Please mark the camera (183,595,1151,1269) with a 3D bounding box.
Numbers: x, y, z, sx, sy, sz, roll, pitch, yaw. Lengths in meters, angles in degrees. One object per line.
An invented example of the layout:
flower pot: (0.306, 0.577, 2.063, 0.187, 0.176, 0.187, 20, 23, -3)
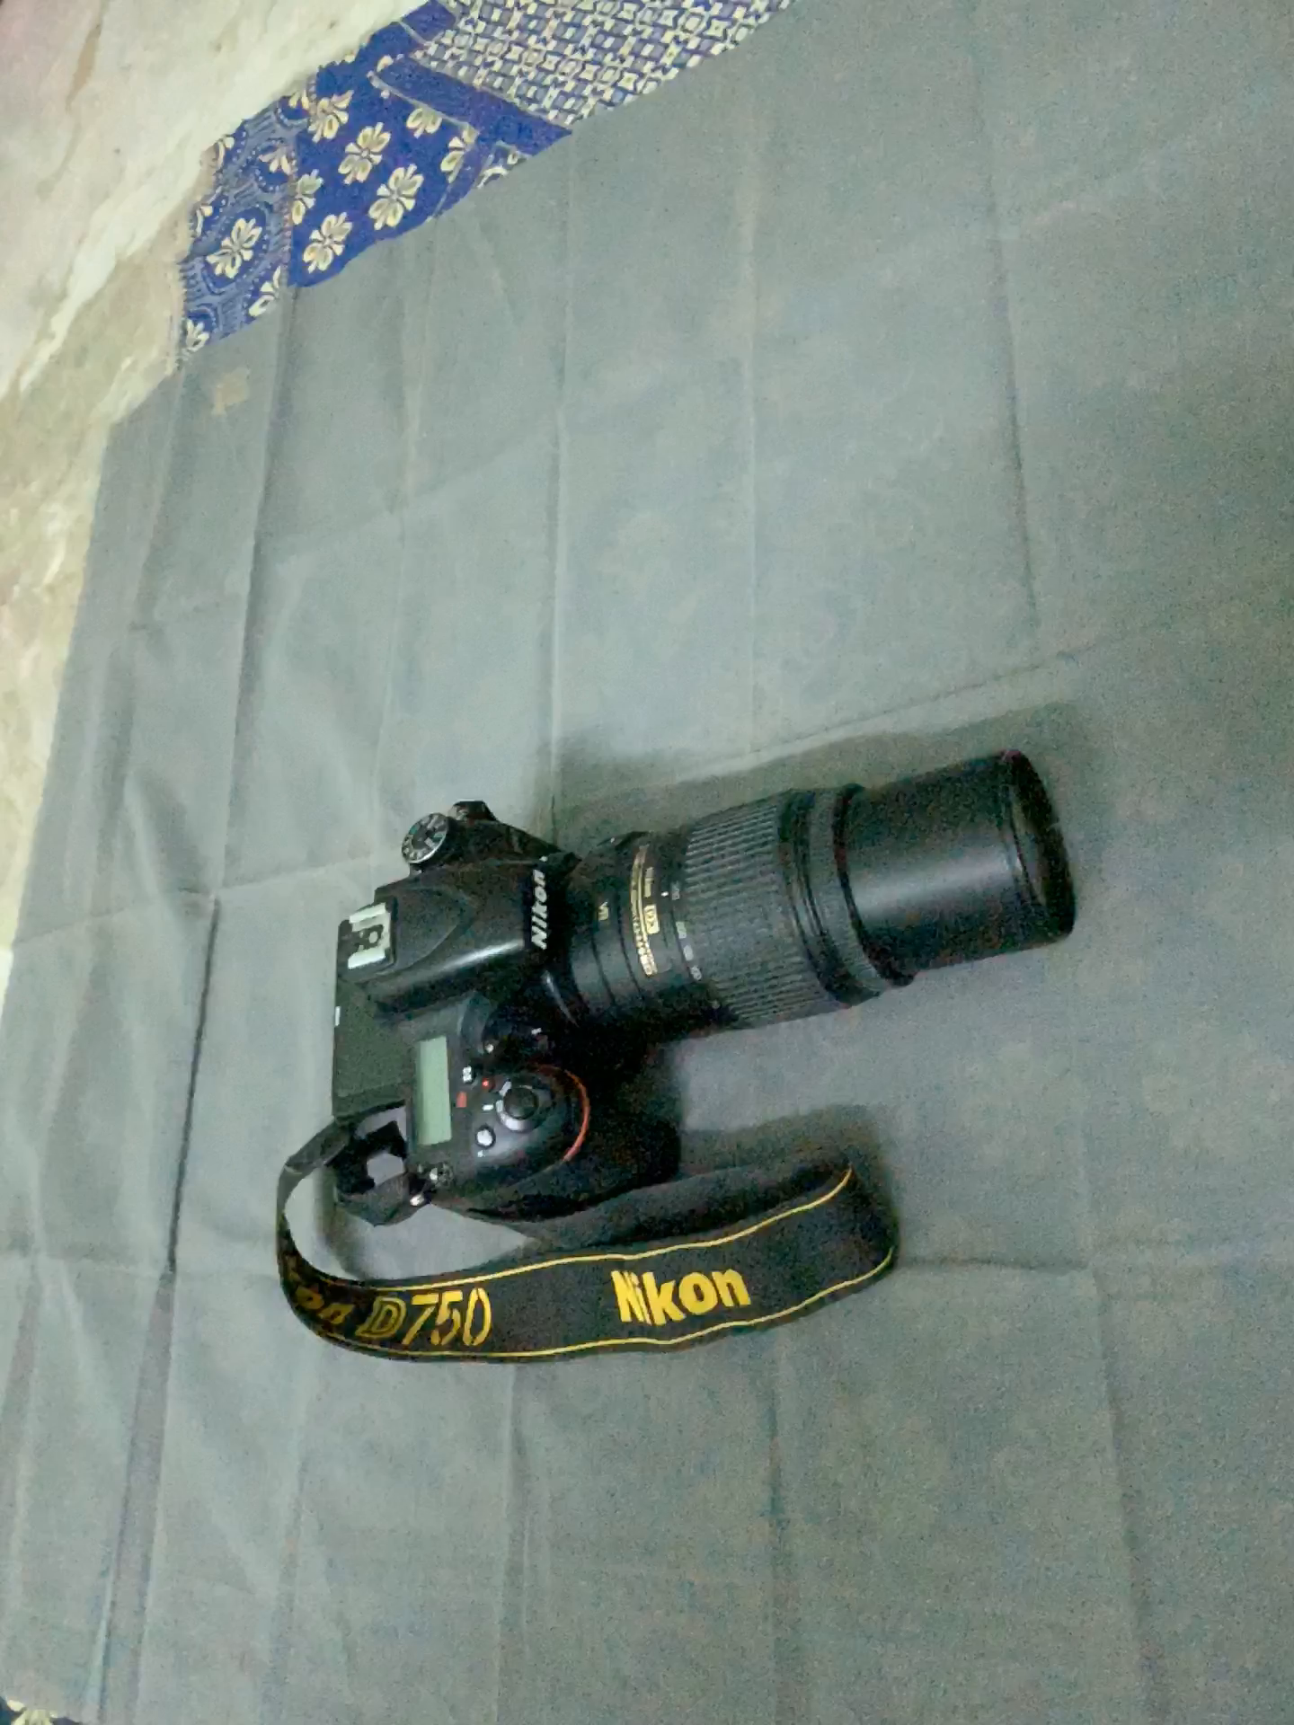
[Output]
camera: (-0.009, 0.046, 0.437, 0.289, 0.109, 0.147, -15, 65, 32)
